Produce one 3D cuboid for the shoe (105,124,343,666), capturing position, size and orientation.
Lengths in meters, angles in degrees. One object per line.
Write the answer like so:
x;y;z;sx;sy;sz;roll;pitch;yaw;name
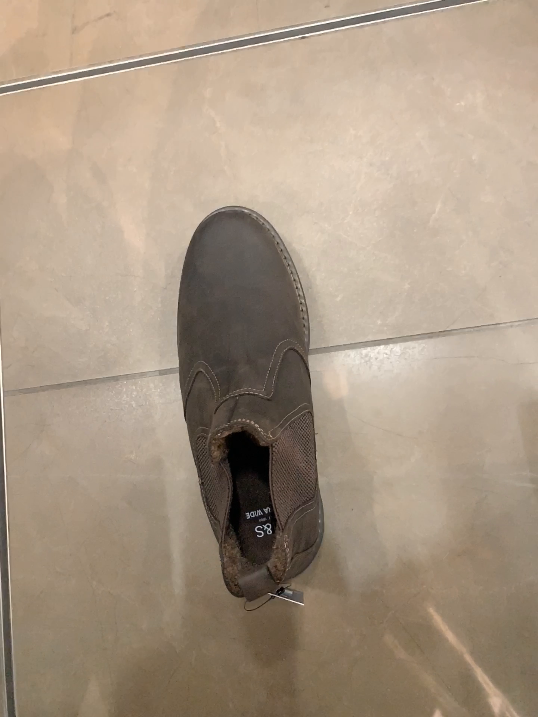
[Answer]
-0.022;0.024;0.401;0.114;0.166;0.304;-7;81;6;shoe
